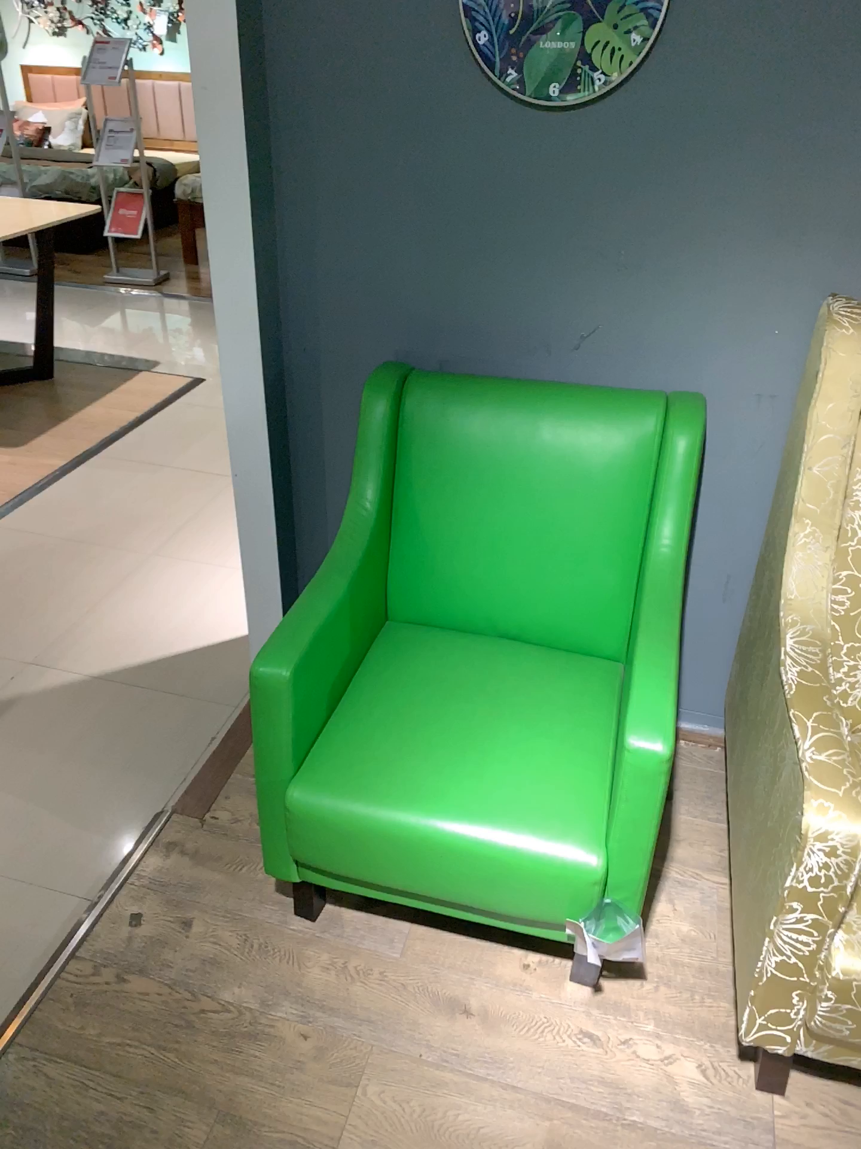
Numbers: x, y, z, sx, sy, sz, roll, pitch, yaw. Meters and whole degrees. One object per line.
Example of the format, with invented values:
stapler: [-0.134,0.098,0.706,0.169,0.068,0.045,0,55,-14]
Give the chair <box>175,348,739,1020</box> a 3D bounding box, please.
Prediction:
chair: [0.100,0.123,1.617,0.710,0.787,0.813,9,32,12]
